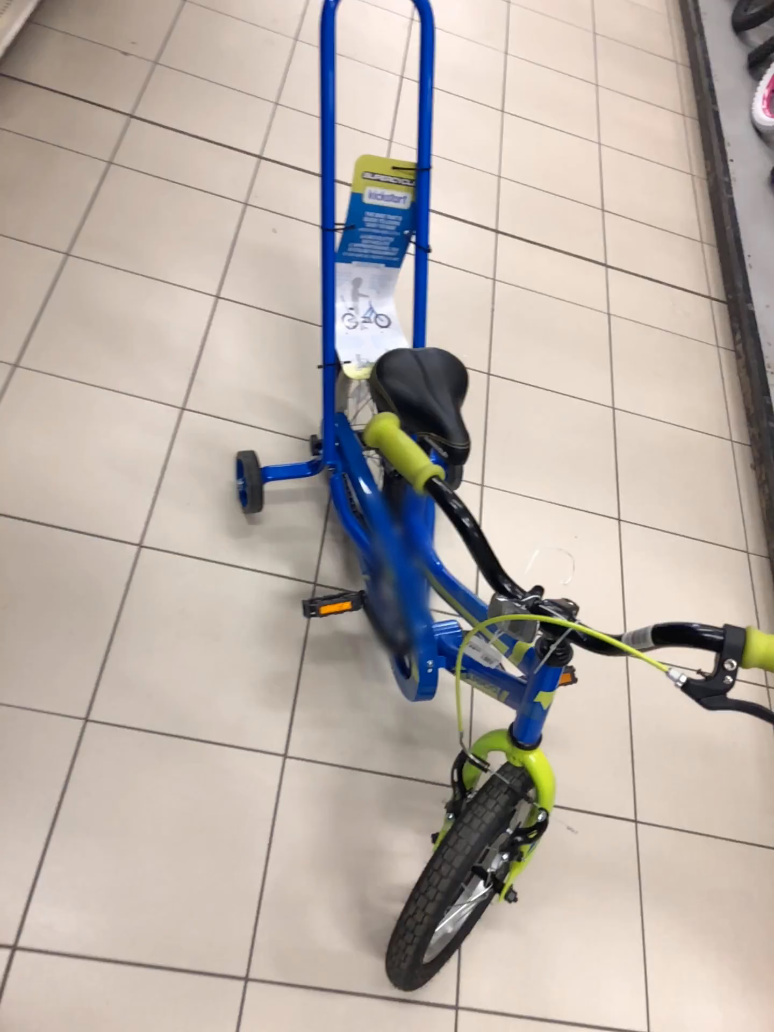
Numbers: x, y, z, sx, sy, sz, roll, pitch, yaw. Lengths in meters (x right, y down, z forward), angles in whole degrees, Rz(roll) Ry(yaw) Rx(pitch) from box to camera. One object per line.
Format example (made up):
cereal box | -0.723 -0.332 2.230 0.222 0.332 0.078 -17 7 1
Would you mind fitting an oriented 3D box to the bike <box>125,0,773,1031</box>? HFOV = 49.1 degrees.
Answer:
bike | -0.002 0.016 1.056 0.538 0.764 0.955 2 58 -18
